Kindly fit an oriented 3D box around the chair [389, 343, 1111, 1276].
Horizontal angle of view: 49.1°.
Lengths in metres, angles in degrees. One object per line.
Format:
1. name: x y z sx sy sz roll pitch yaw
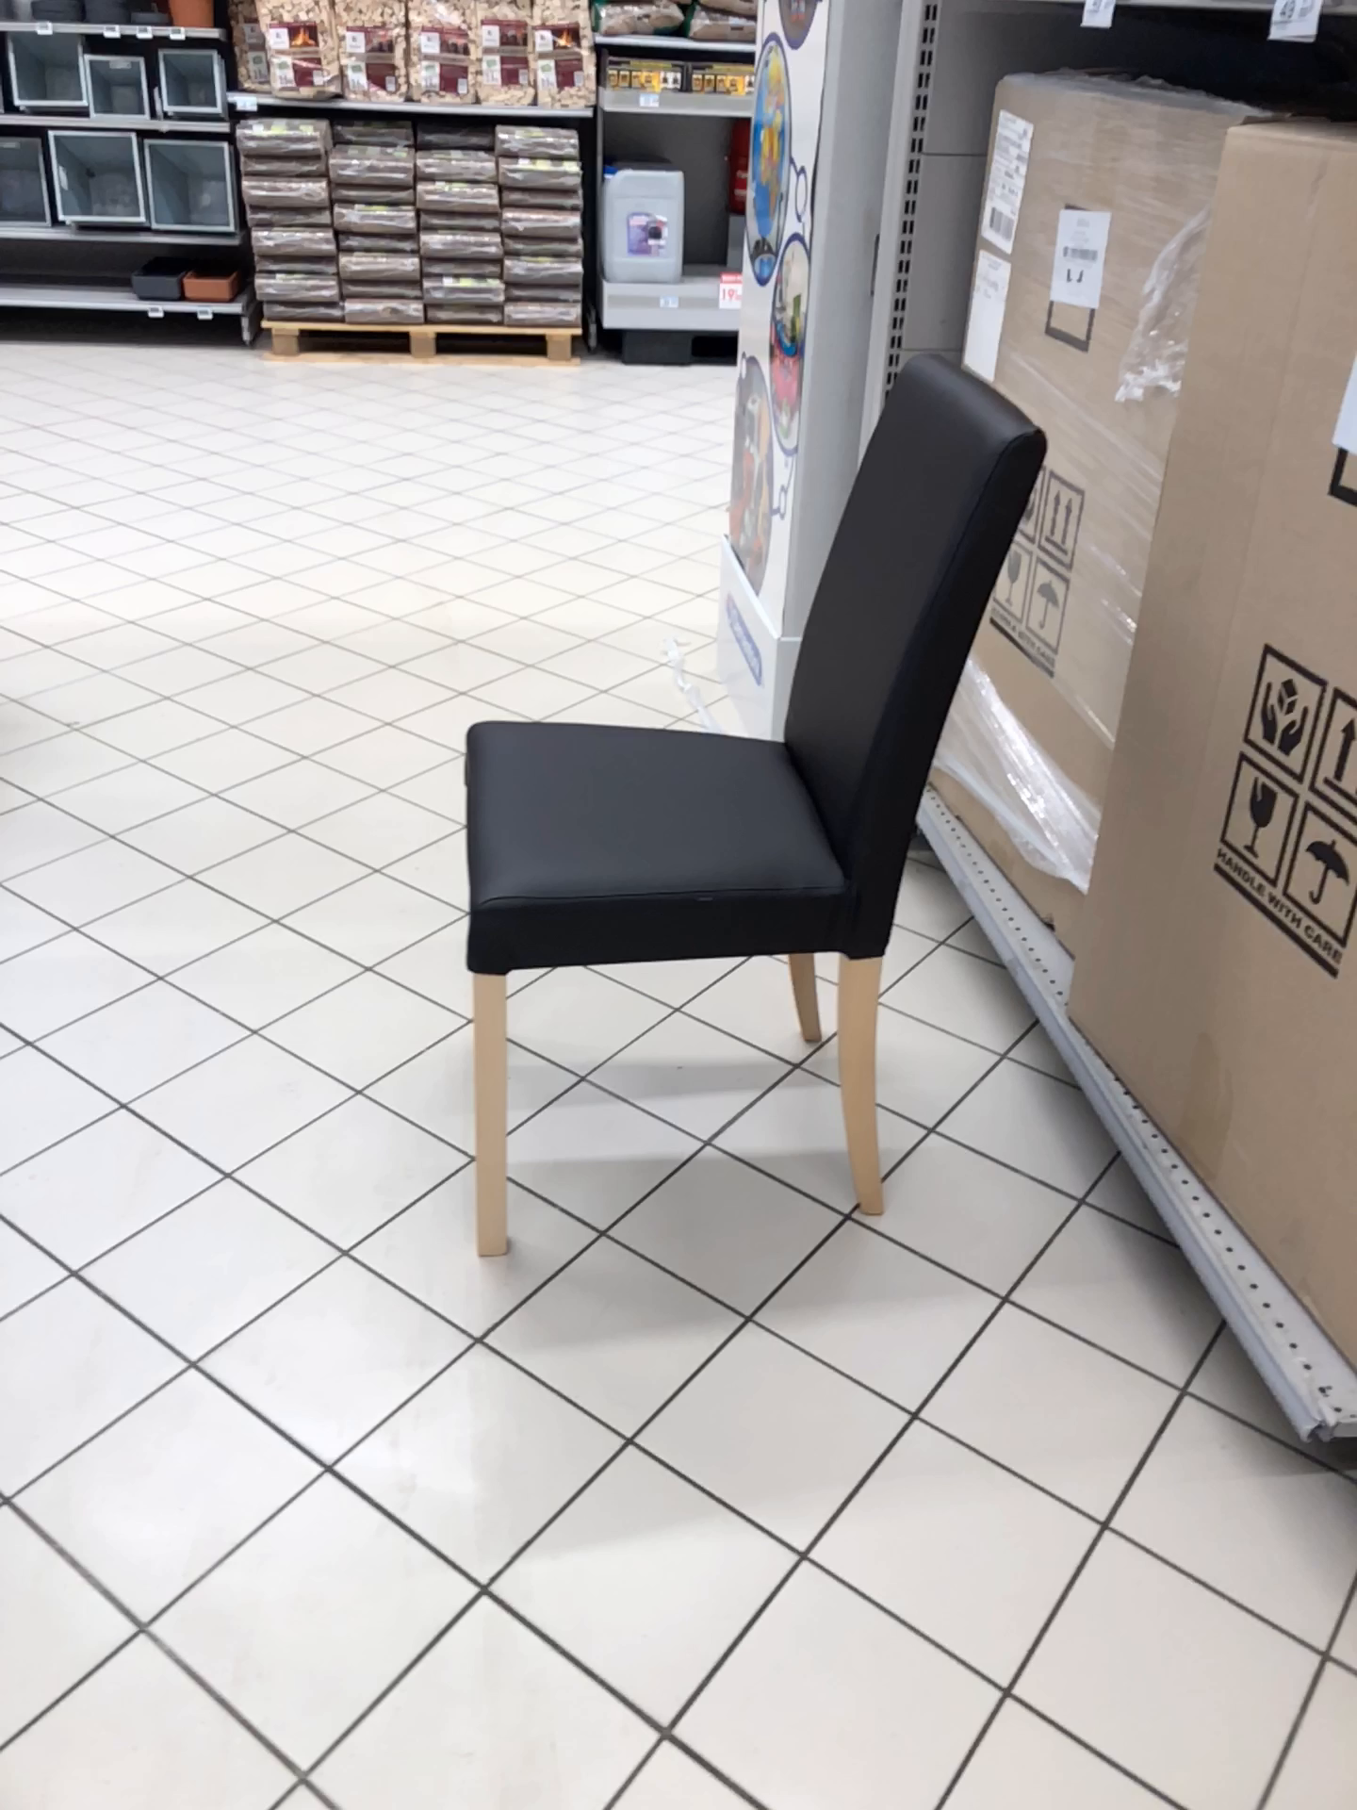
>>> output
1. chair: 0.018 -0.108 1.593 0.591 0.855 0.452 -3 31 -9
